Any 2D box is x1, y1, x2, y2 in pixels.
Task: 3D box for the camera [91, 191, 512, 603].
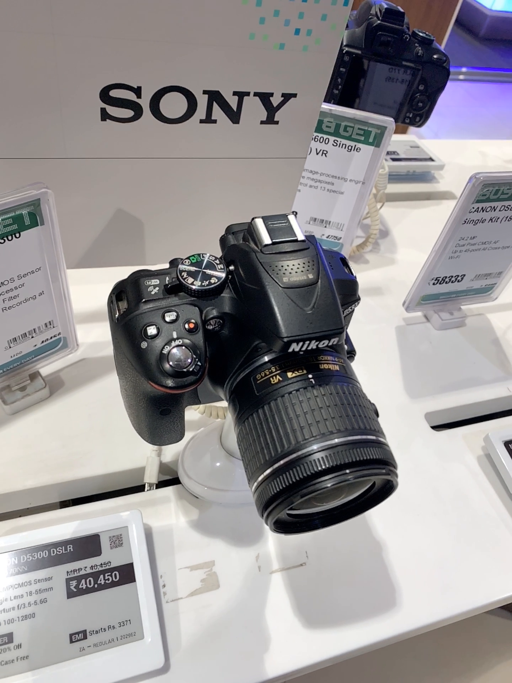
[{"bbox_3d":[0.012,0.009,0.219,0.130,0.070,0.130,-10,52,-21],"label":"camera"}]
